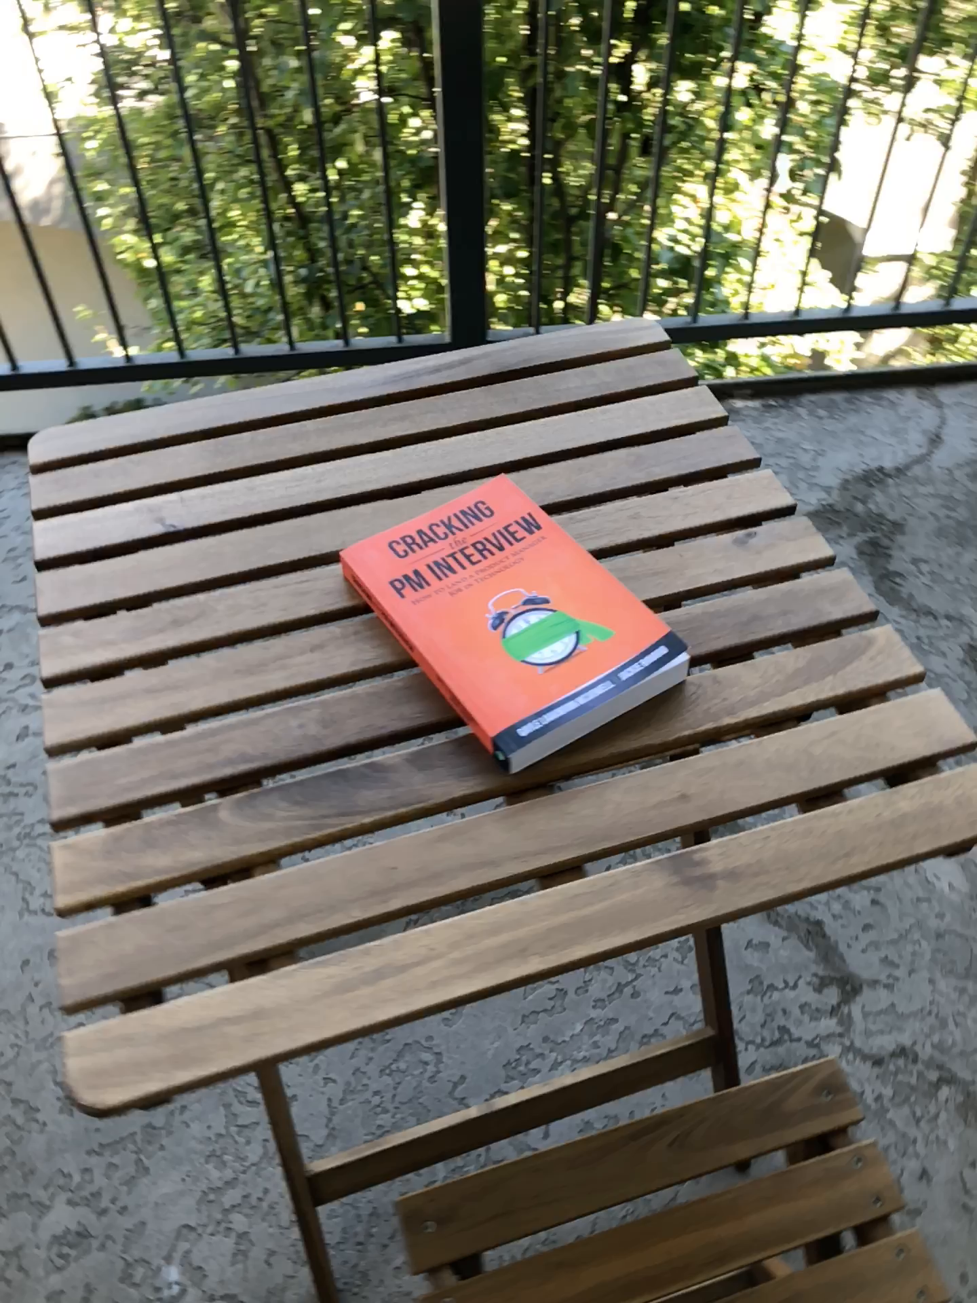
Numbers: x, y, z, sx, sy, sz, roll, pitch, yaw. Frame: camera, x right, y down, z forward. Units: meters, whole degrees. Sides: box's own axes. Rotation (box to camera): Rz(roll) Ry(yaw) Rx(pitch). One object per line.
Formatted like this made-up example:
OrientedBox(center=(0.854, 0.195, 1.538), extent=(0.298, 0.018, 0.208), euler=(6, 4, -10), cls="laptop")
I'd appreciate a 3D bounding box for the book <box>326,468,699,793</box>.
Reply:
OrientedBox(center=(0.012, -0.027, 0.797), extent=(0.170, 0.040, 0.231), euler=(-27, 54, -21), cls="book")
